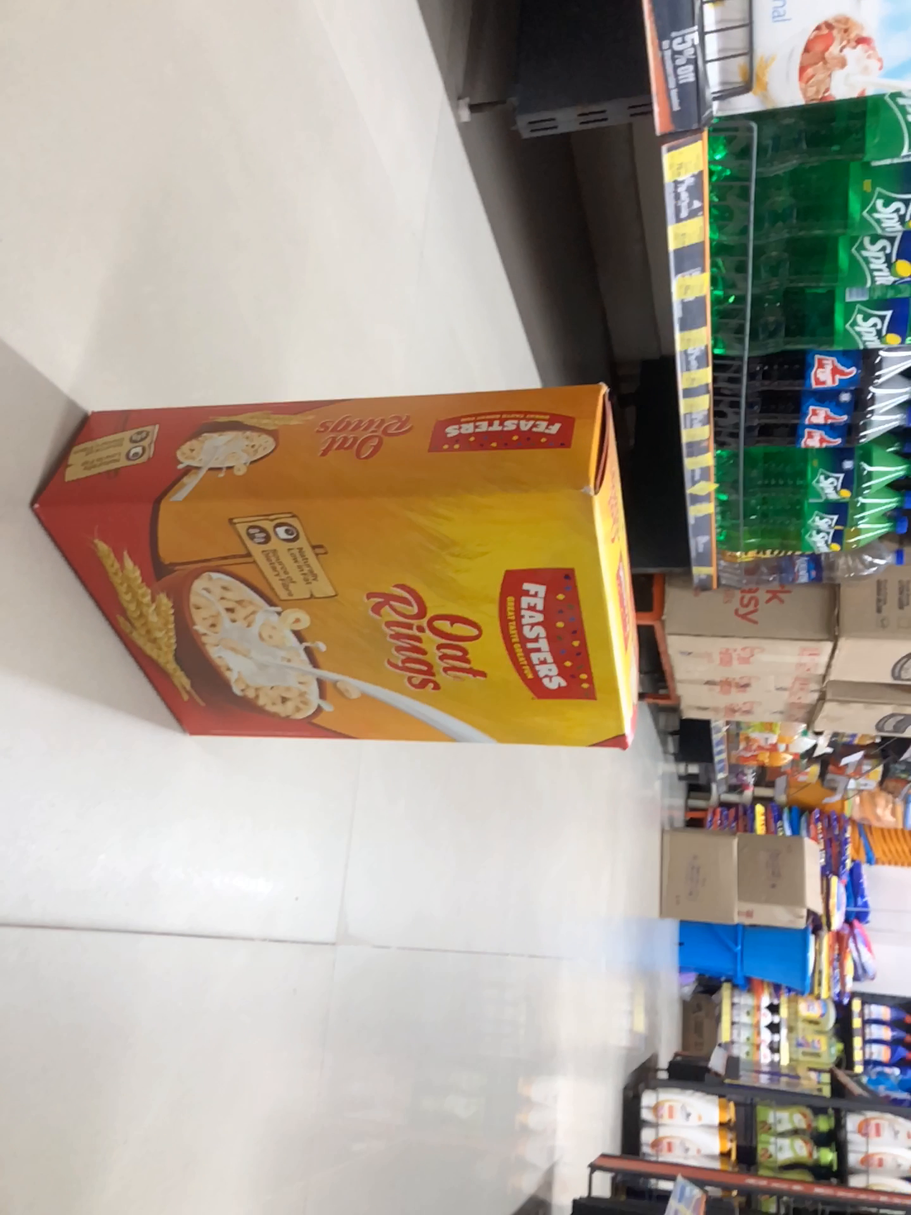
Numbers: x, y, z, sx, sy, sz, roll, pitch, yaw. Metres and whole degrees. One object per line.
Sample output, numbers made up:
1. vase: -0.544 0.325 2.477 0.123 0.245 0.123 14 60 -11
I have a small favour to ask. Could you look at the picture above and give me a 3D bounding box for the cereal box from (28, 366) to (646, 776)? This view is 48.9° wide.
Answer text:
1. cereal box: -0.034 -0.005 0.440 0.171 0.219 0.070 74 20 -45
